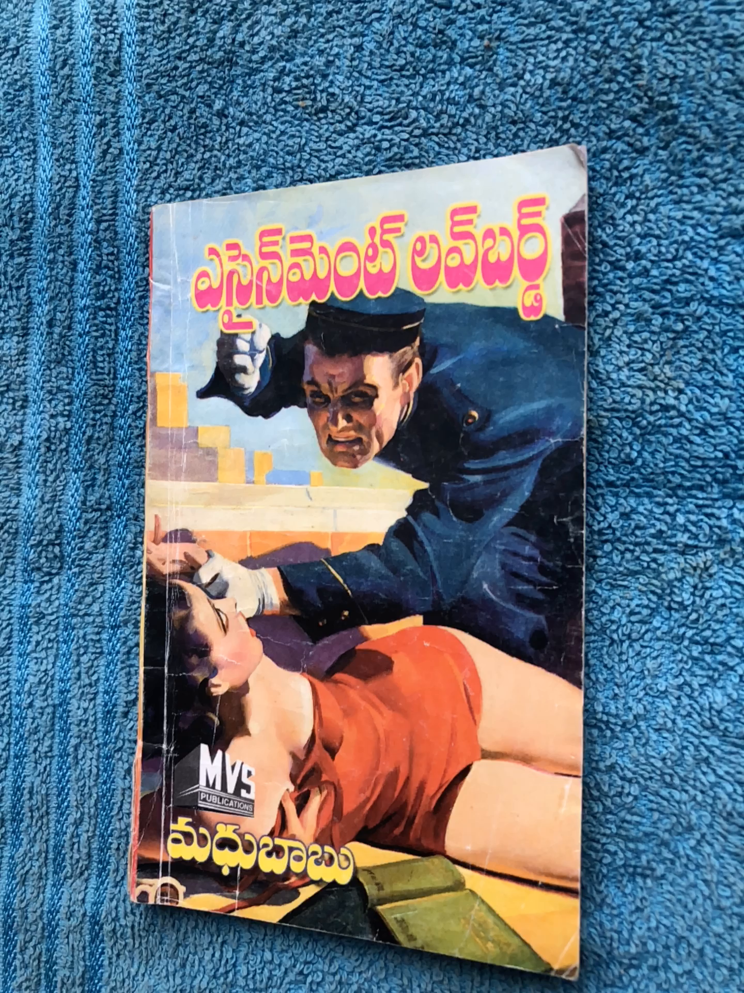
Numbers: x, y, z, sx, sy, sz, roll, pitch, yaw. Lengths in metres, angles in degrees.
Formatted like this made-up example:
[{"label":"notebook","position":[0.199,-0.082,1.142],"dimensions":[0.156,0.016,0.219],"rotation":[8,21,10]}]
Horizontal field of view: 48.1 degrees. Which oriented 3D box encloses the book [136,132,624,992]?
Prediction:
[{"label":"book","position":[0.003,0.011,0.184],"dimensions":[0.100,0.030,0.160],"rotation":[0,87,18]}]
